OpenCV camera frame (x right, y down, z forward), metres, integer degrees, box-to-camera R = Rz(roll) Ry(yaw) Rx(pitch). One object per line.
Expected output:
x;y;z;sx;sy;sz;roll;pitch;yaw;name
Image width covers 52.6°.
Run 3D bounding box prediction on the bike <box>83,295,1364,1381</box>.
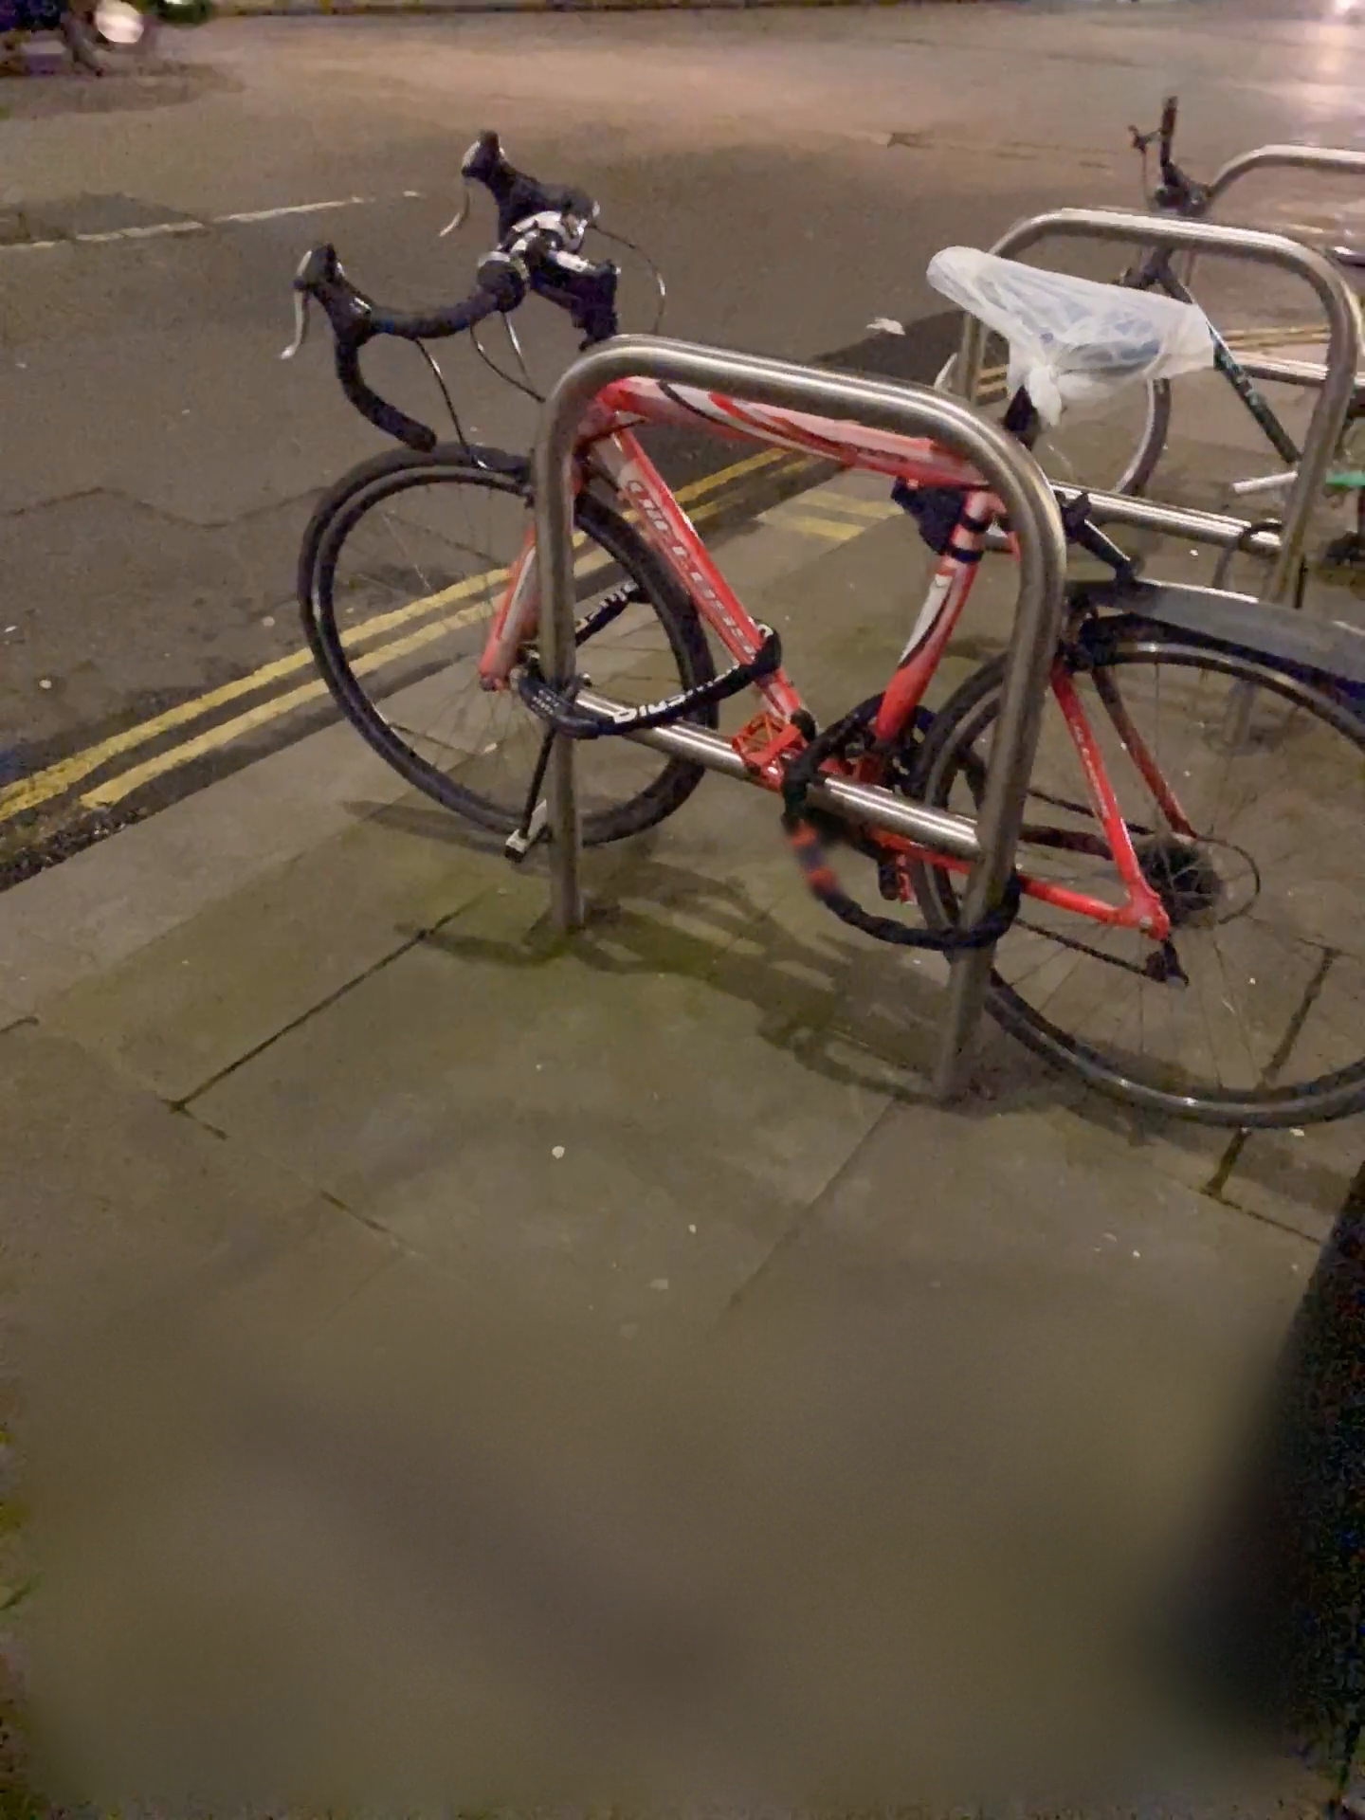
0.096;-0.213;1.788;1.662;0.810;0.539;21;40;26;bike
